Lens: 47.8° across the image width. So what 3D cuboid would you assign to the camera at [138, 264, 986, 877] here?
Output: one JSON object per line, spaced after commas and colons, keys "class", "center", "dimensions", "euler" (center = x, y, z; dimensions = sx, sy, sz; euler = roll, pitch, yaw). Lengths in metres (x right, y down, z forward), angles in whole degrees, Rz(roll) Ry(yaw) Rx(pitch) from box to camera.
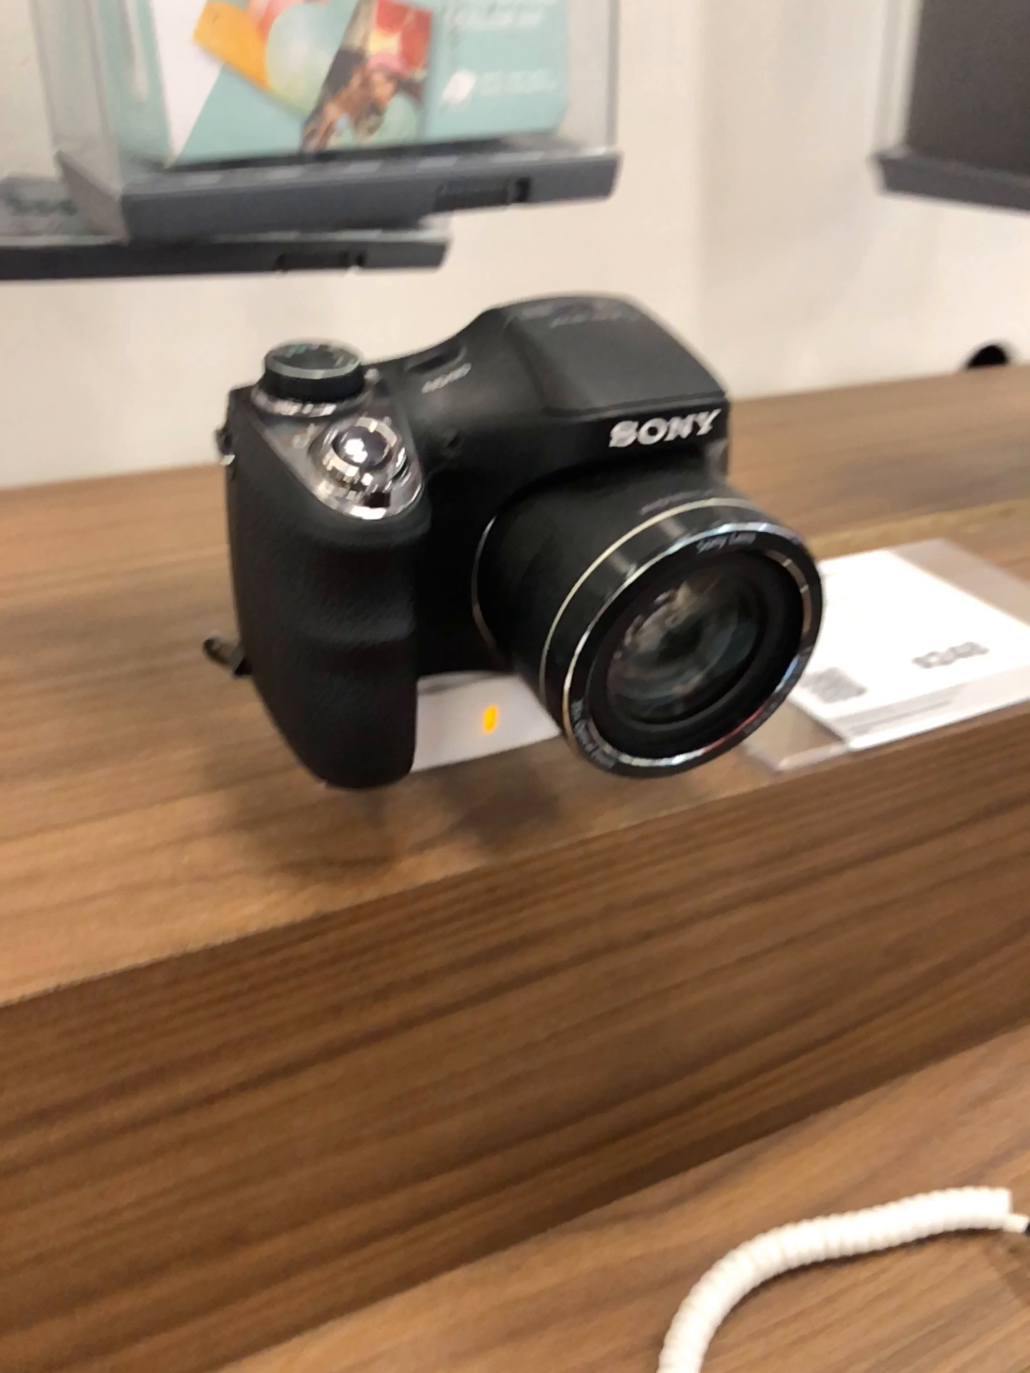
{"class": "camera", "center": [0.003, -0.041, 0.266], "dimensions": [0.140, 0.080, 0.120], "euler": [-13, 31, -23]}
